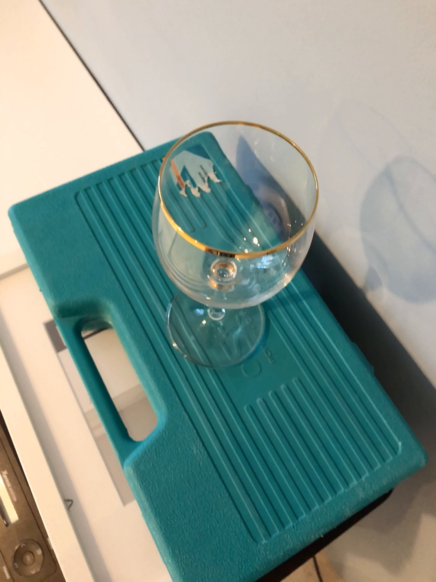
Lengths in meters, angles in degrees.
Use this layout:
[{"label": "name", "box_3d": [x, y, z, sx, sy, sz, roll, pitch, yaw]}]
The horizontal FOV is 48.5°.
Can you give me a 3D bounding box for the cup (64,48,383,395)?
[{"label": "cup", "box_3d": [-0.003, -0.024, 0.277, 0.100, 0.159, 0.100, 1, 66, -2]}]
